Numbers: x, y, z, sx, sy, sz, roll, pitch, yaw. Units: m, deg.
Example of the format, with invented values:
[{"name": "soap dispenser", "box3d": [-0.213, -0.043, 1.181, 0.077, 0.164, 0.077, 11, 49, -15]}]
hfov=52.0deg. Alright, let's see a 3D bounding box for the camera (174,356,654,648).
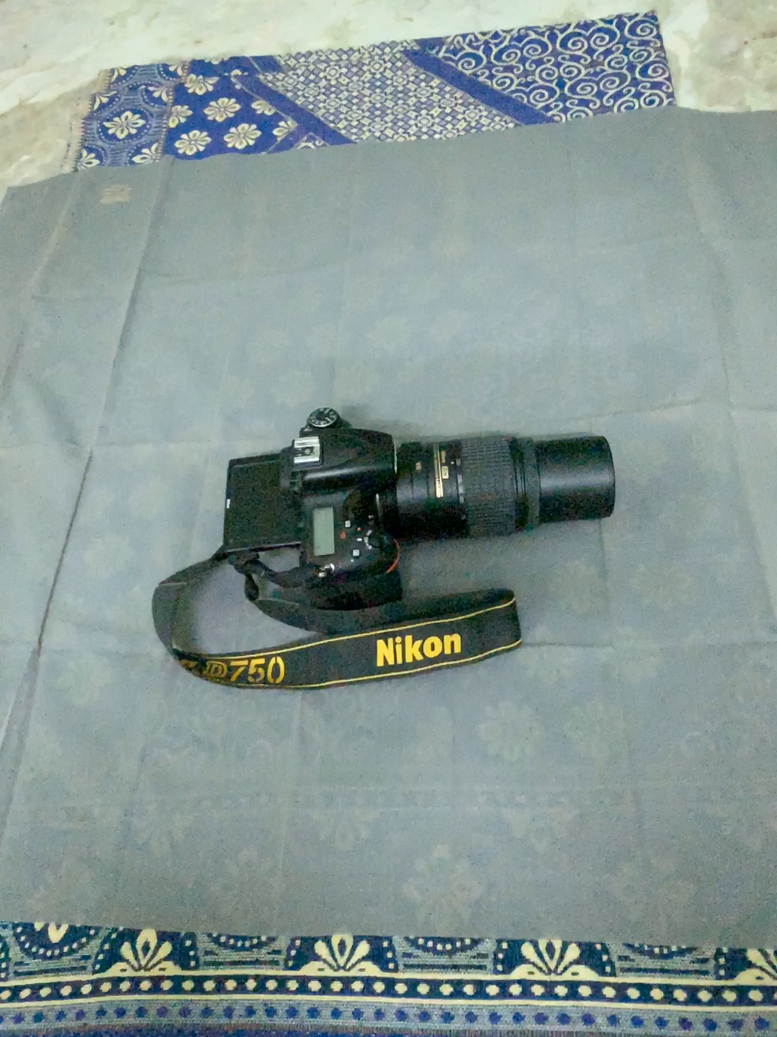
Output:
[{"name": "camera", "box3d": [0.017, -0.006, 0.556, 0.288, 0.110, 0.147, -4, 61, 7]}]
